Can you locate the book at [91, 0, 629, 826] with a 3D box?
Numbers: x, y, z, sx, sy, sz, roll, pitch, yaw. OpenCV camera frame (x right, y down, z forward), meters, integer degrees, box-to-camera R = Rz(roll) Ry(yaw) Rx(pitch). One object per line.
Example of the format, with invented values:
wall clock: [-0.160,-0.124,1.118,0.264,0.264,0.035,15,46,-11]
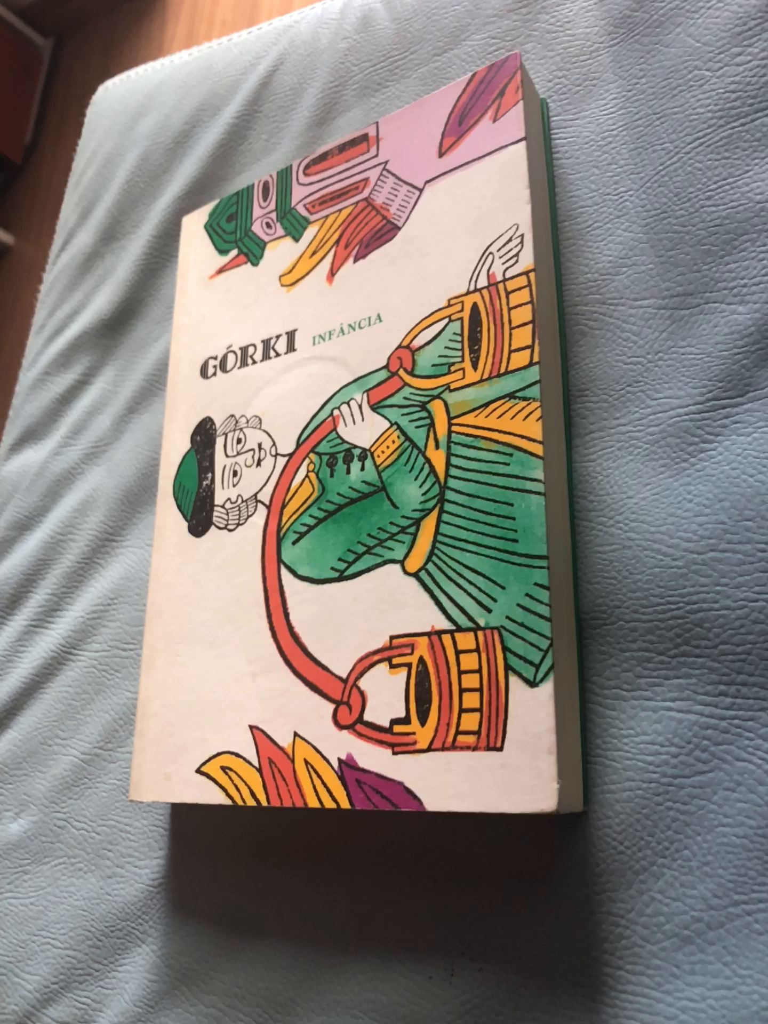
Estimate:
book: [-0.013,-0.025,0.229,0.131,0.030,0.200,-12,69,31]
